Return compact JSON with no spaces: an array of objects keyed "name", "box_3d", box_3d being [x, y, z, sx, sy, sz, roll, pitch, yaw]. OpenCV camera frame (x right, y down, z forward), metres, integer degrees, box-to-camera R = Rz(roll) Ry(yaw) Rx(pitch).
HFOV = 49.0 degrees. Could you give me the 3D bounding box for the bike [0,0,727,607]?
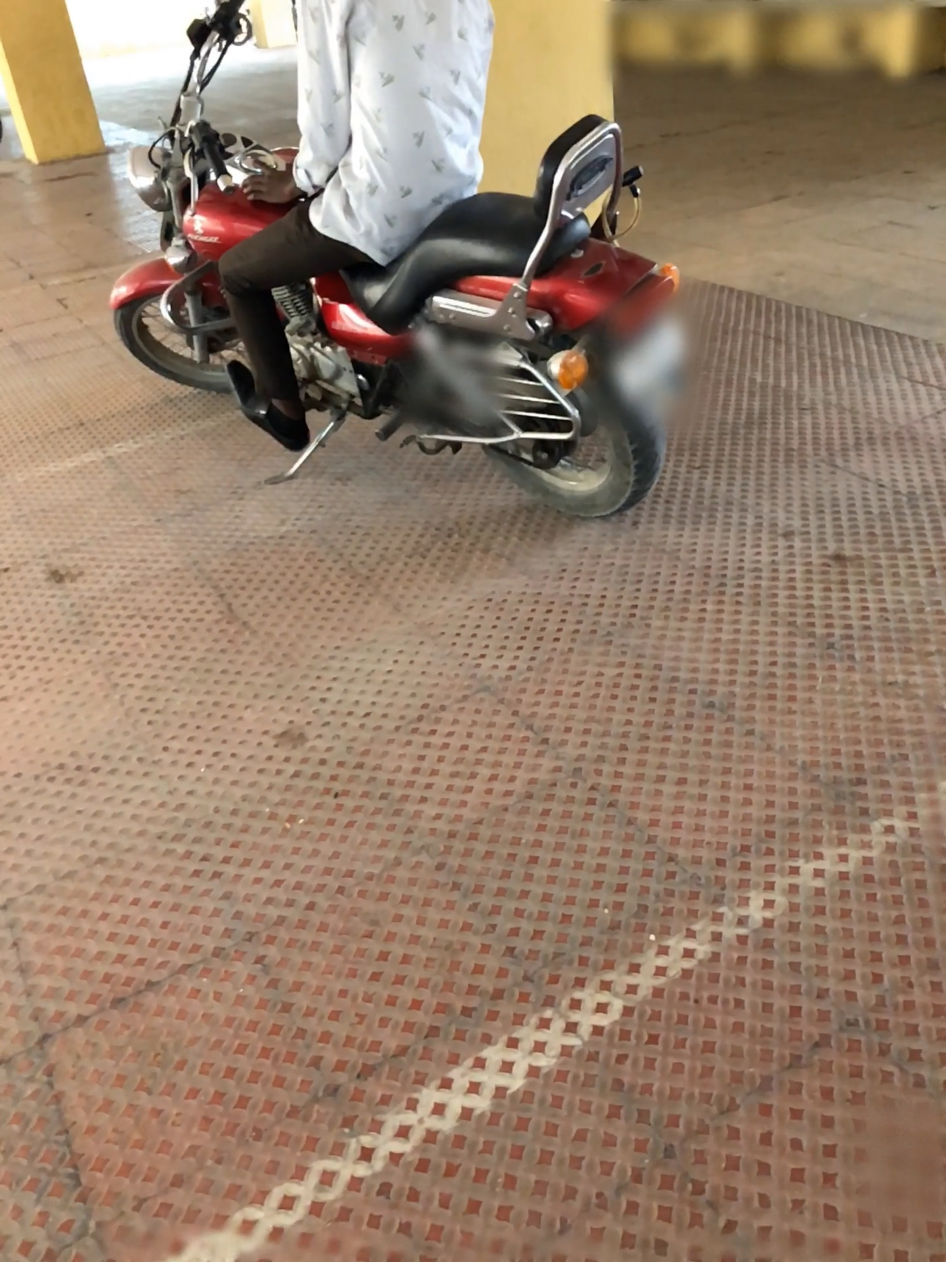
[{"name":"bike","box_3d":[-0.431,-0.964,2.277,1.647,1.049,0.761,23,42,28]}]
